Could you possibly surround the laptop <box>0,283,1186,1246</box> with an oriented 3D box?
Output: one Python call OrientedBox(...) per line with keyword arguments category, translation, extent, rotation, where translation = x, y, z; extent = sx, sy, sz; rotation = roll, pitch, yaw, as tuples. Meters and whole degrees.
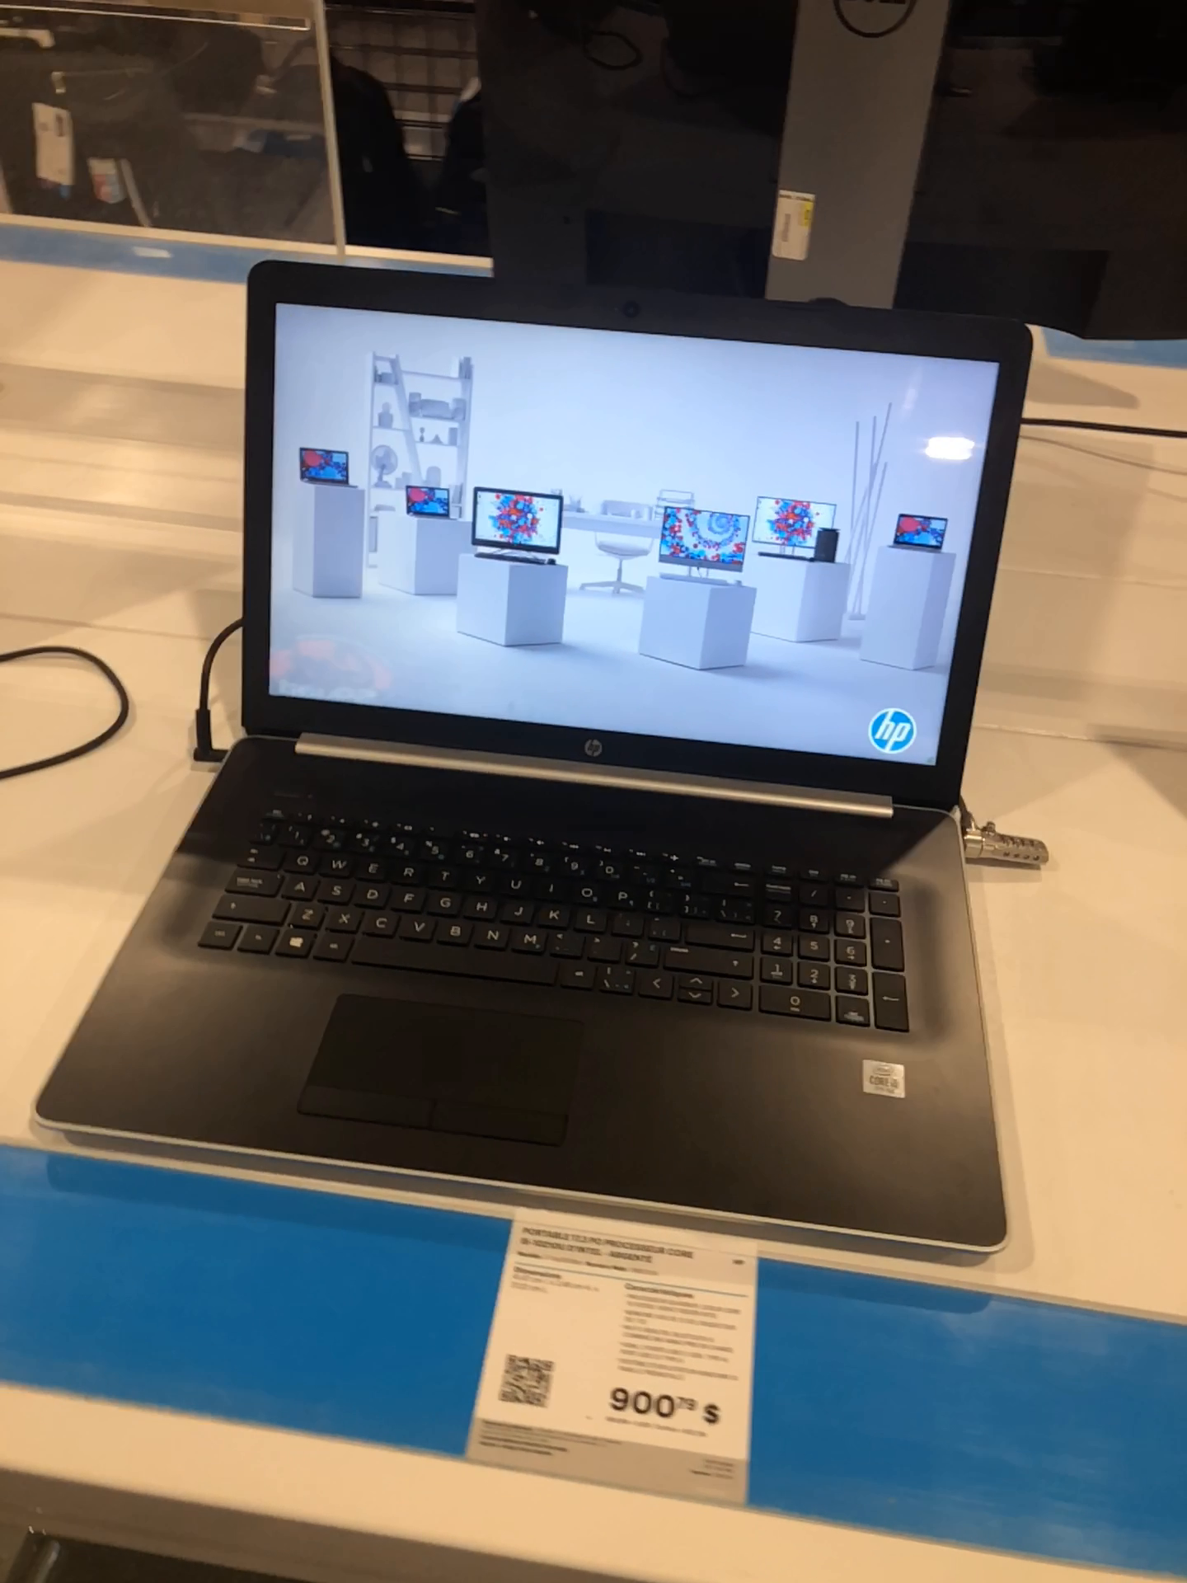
OrientedBox(category="laptop", translation=(-0.012, -0.047, 0.622), extent=(0.411, 0.242, 0.382), rotation=(6, 39, 5))
